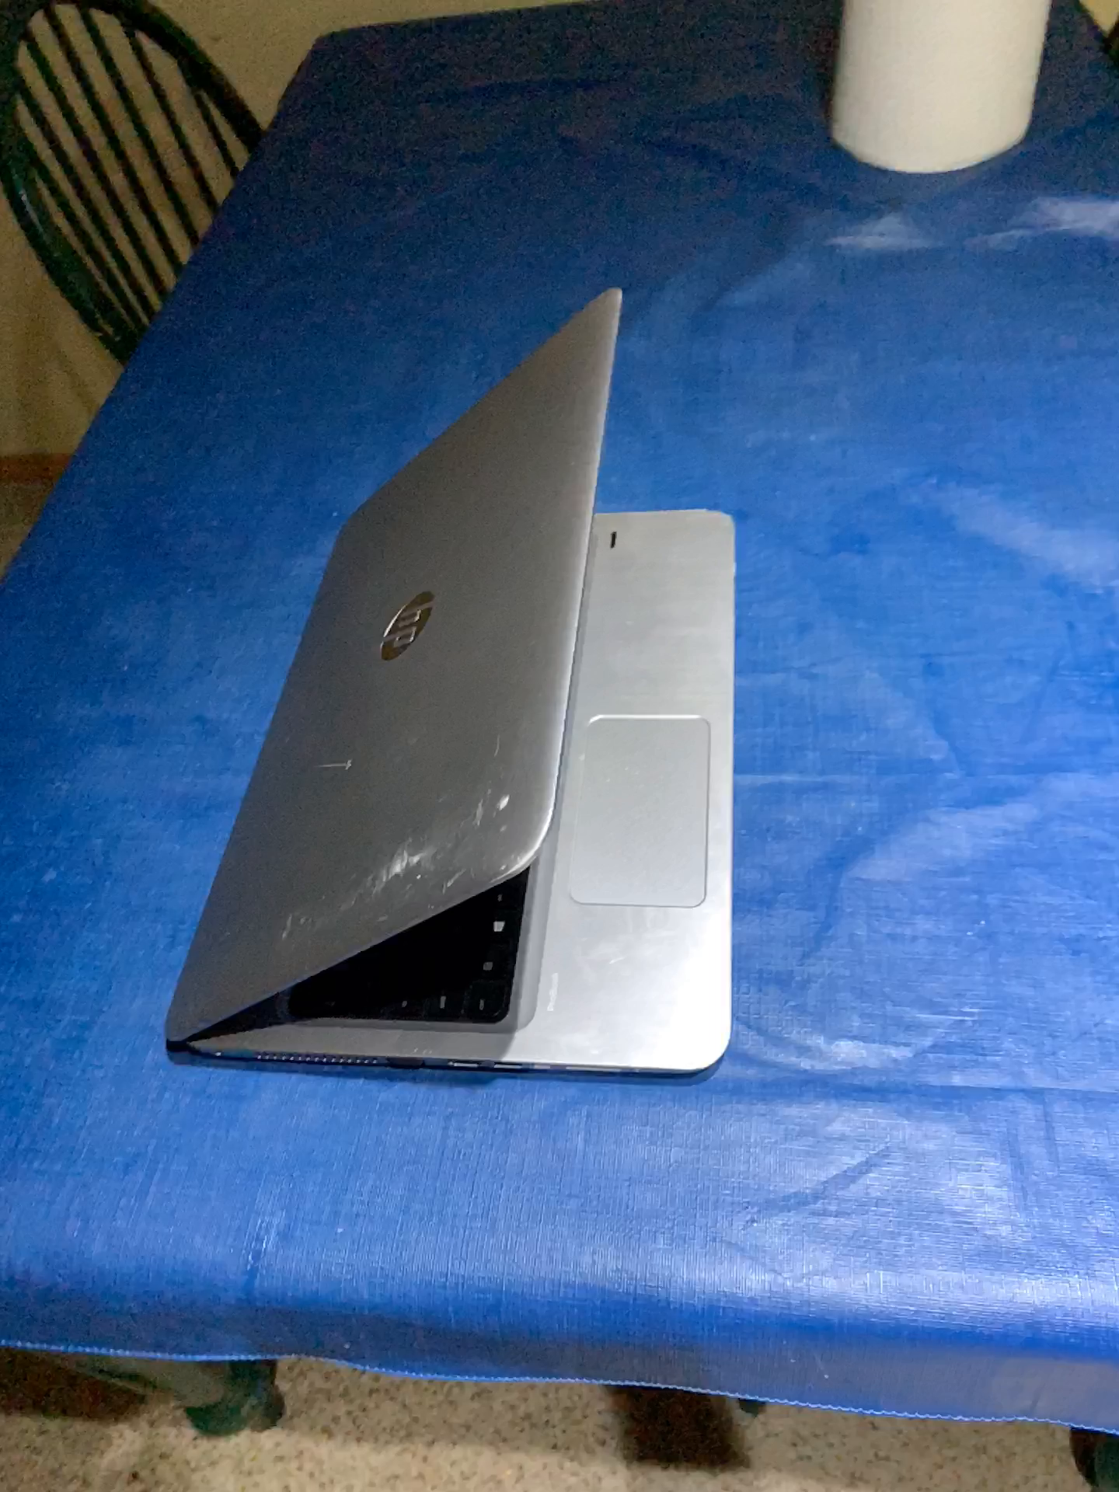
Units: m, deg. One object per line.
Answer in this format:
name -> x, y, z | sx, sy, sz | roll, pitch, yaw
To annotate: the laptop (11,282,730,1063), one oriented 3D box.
laptop -> -0.047, -0.055, 0.576 | 0.253, 0.156, 0.368 | 0, 50, 9
